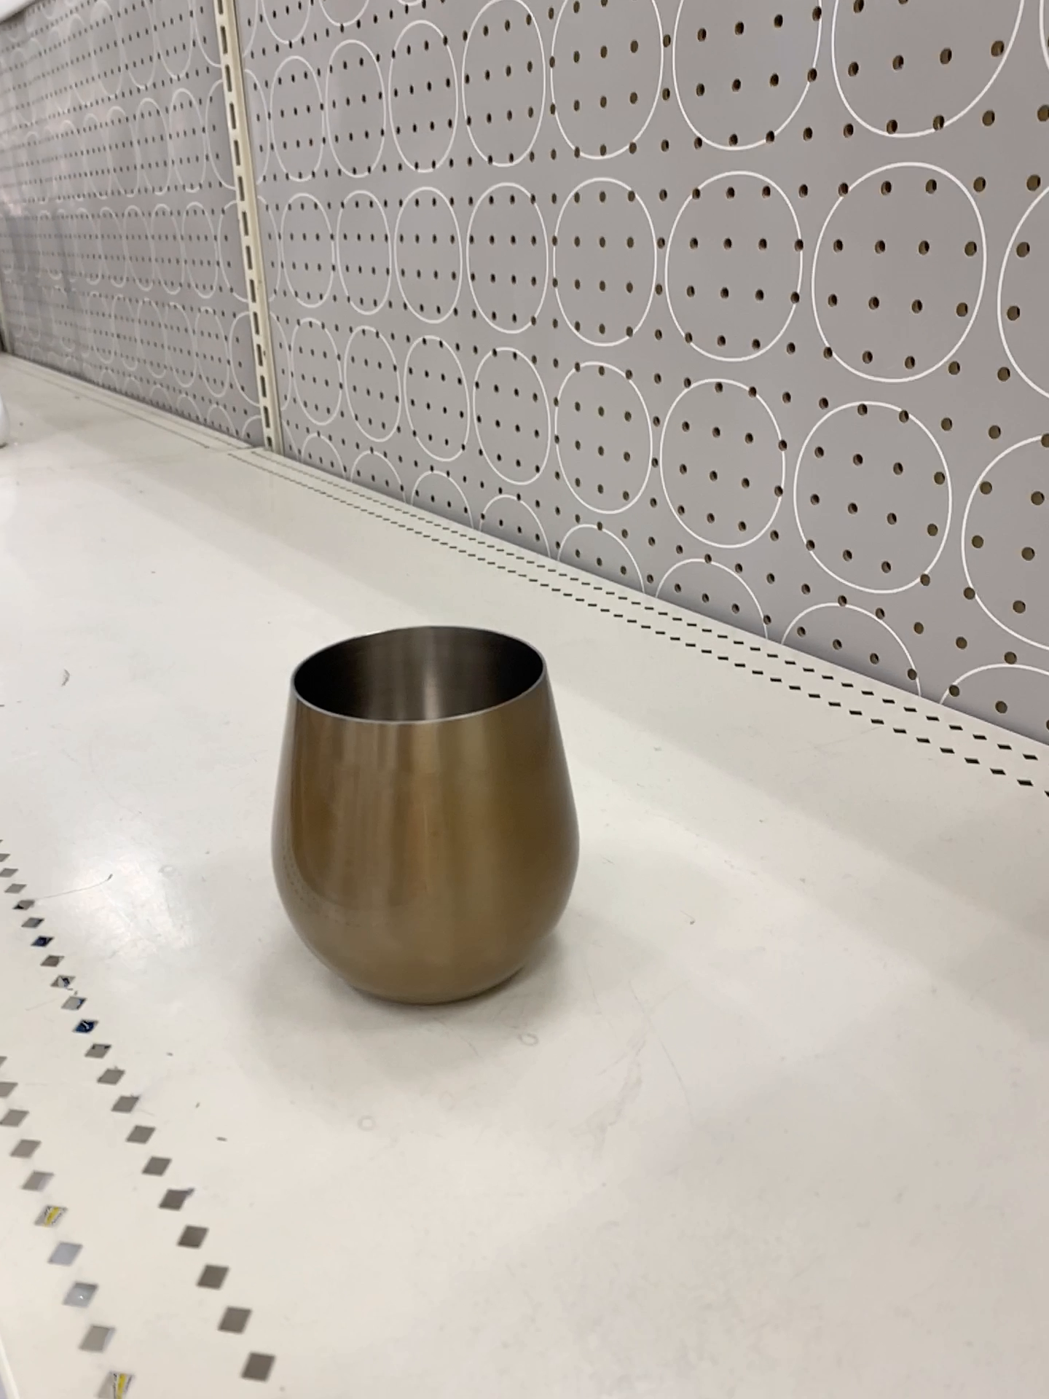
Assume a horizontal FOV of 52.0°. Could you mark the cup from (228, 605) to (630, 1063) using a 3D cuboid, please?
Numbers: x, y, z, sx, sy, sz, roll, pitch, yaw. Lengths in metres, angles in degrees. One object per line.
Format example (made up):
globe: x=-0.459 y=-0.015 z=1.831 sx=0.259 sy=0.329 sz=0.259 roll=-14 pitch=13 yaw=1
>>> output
cup: x=-0.028 y=0.033 z=0.325 sx=0.083 sy=0.090 sz=0.082 roll=-1 pitch=24 yaw=0
